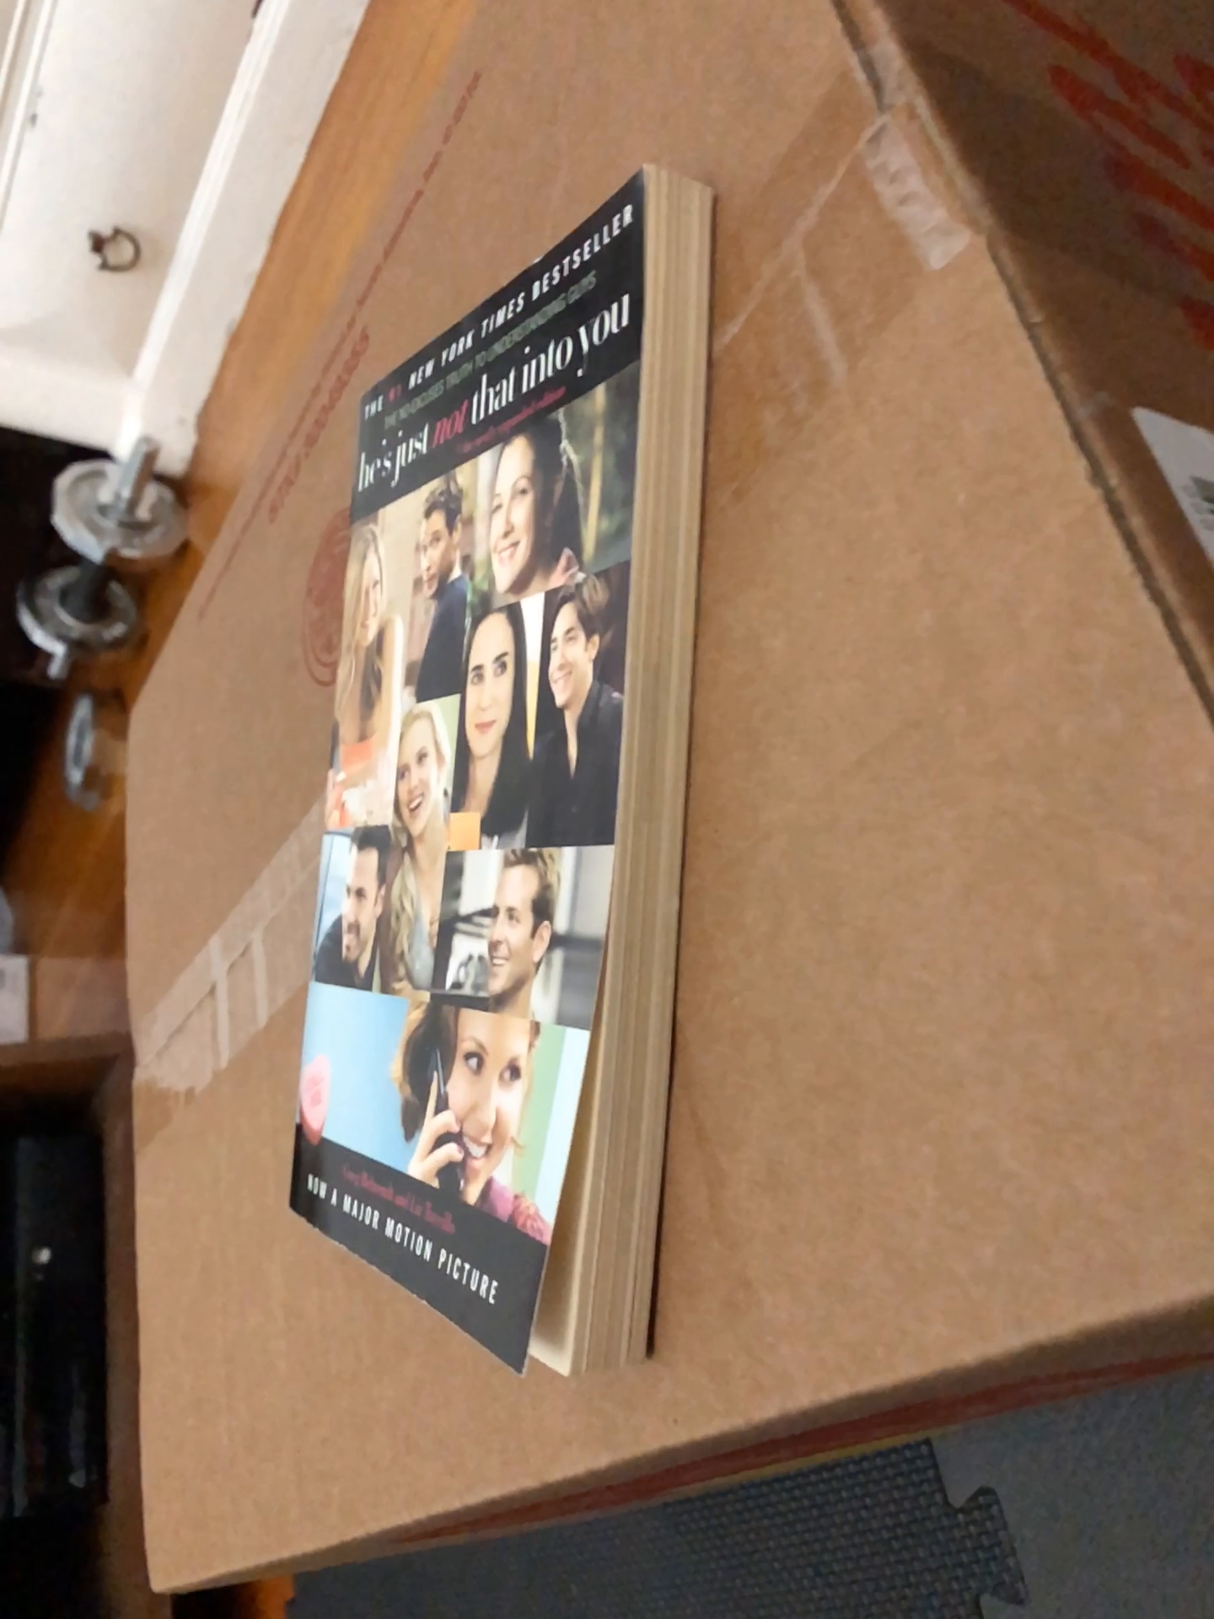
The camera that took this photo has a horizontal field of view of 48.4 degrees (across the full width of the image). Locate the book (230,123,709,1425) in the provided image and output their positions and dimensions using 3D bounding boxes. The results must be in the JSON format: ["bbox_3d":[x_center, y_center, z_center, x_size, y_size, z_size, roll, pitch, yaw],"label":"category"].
[{"bbox_3d":[-0.038,-0.005,0.288,0.161,0.020,0.210,-8,77,57],"label":"book"}]
